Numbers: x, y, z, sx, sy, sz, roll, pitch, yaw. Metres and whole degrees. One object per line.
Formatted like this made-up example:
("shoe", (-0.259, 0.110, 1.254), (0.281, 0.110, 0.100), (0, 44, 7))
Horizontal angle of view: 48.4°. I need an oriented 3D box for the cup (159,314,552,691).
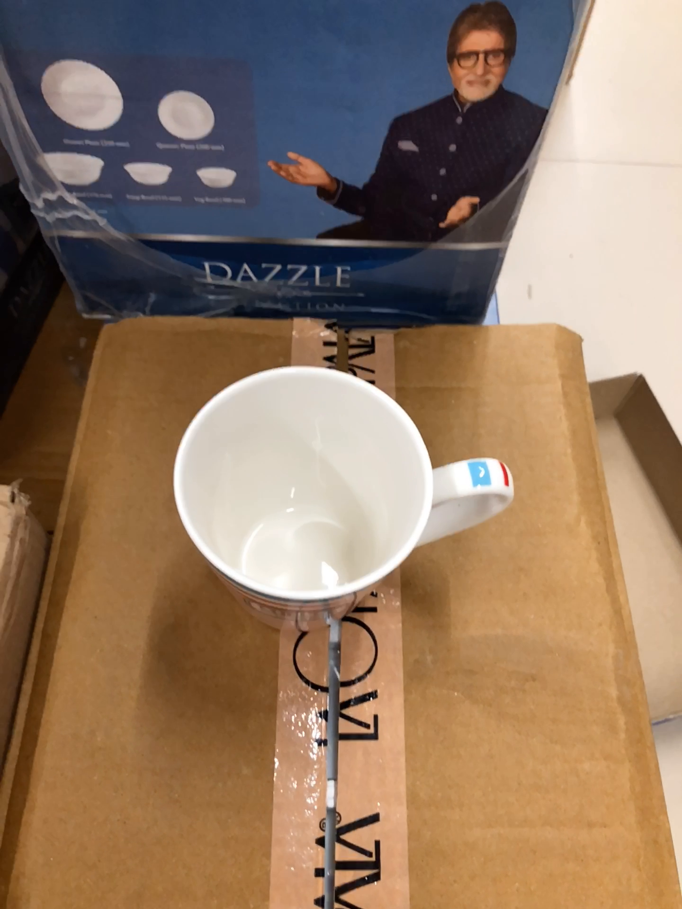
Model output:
("cup", (-0.001, 0.021, 0.284), (0.110, 0.100, 0.090), (-8, 60, -7))
